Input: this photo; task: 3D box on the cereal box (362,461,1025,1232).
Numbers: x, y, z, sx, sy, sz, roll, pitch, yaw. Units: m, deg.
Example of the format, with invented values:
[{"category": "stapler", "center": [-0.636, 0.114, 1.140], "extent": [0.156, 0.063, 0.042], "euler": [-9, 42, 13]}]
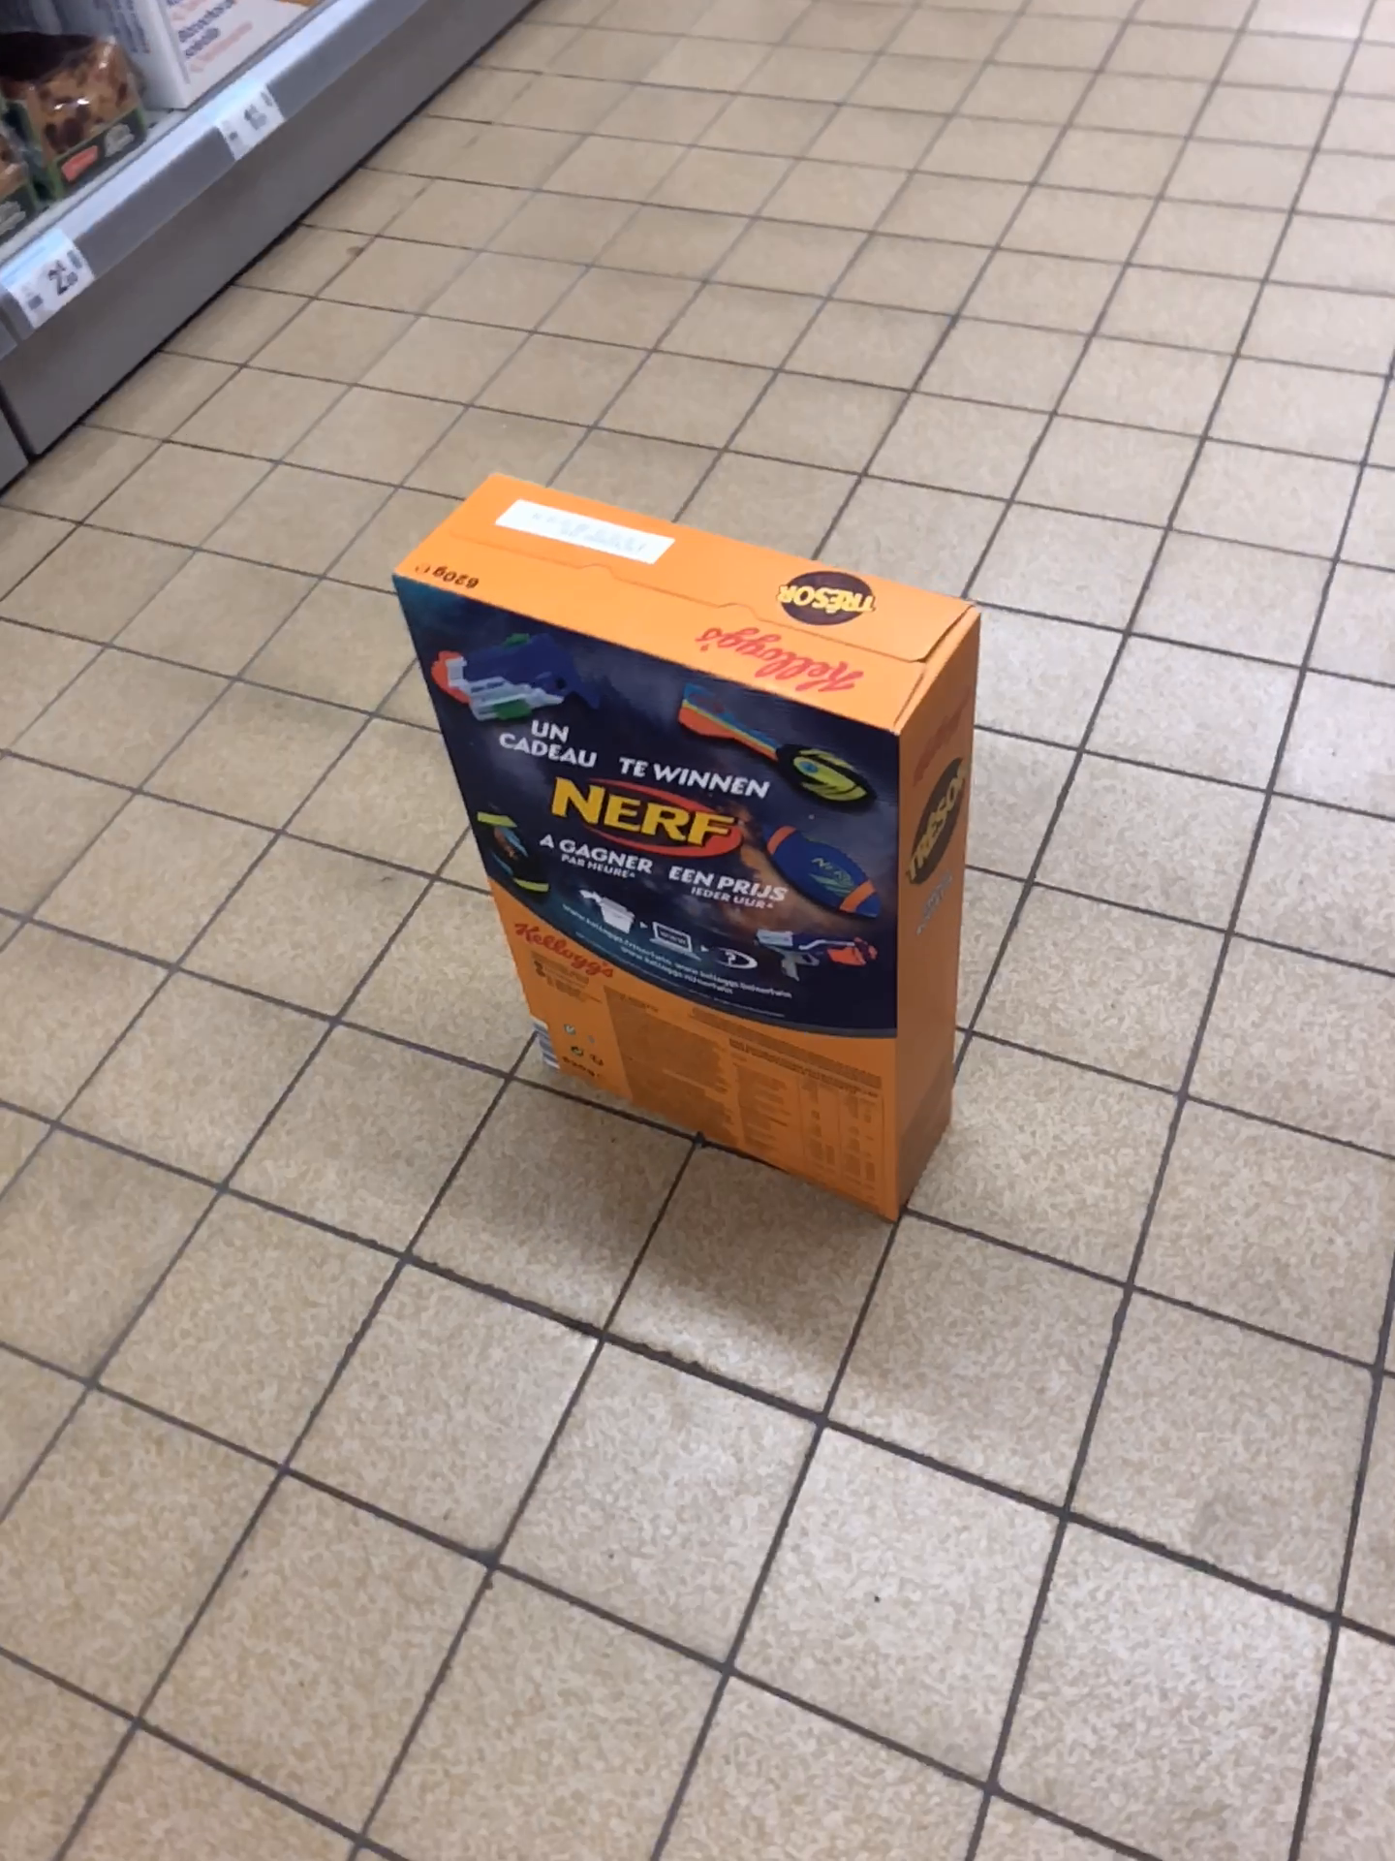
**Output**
[{"category": "cereal box", "center": [0.008, -0.020, 0.610], "extent": [0.210, 0.288, 0.070], "euler": [22, 57, 22]}]
